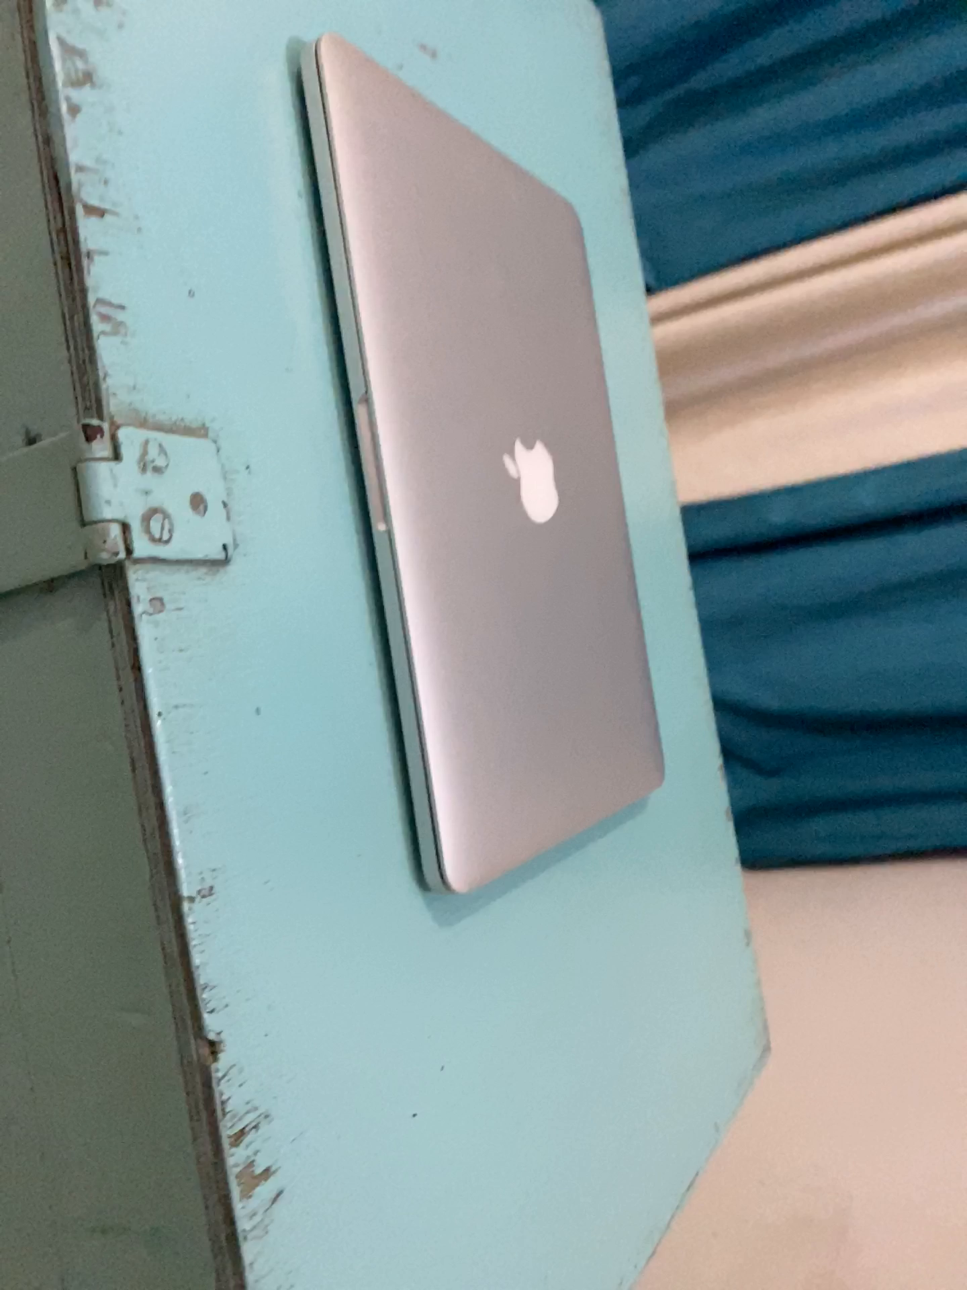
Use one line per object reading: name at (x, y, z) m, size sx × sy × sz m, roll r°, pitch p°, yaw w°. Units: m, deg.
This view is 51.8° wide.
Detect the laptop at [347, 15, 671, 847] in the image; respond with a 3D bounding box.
laptop at (0.026, -0.080, 0.441) m, size 0.210 × 0.007 × 0.291 m, roll -10°, pitch 92°, yaw -62°
